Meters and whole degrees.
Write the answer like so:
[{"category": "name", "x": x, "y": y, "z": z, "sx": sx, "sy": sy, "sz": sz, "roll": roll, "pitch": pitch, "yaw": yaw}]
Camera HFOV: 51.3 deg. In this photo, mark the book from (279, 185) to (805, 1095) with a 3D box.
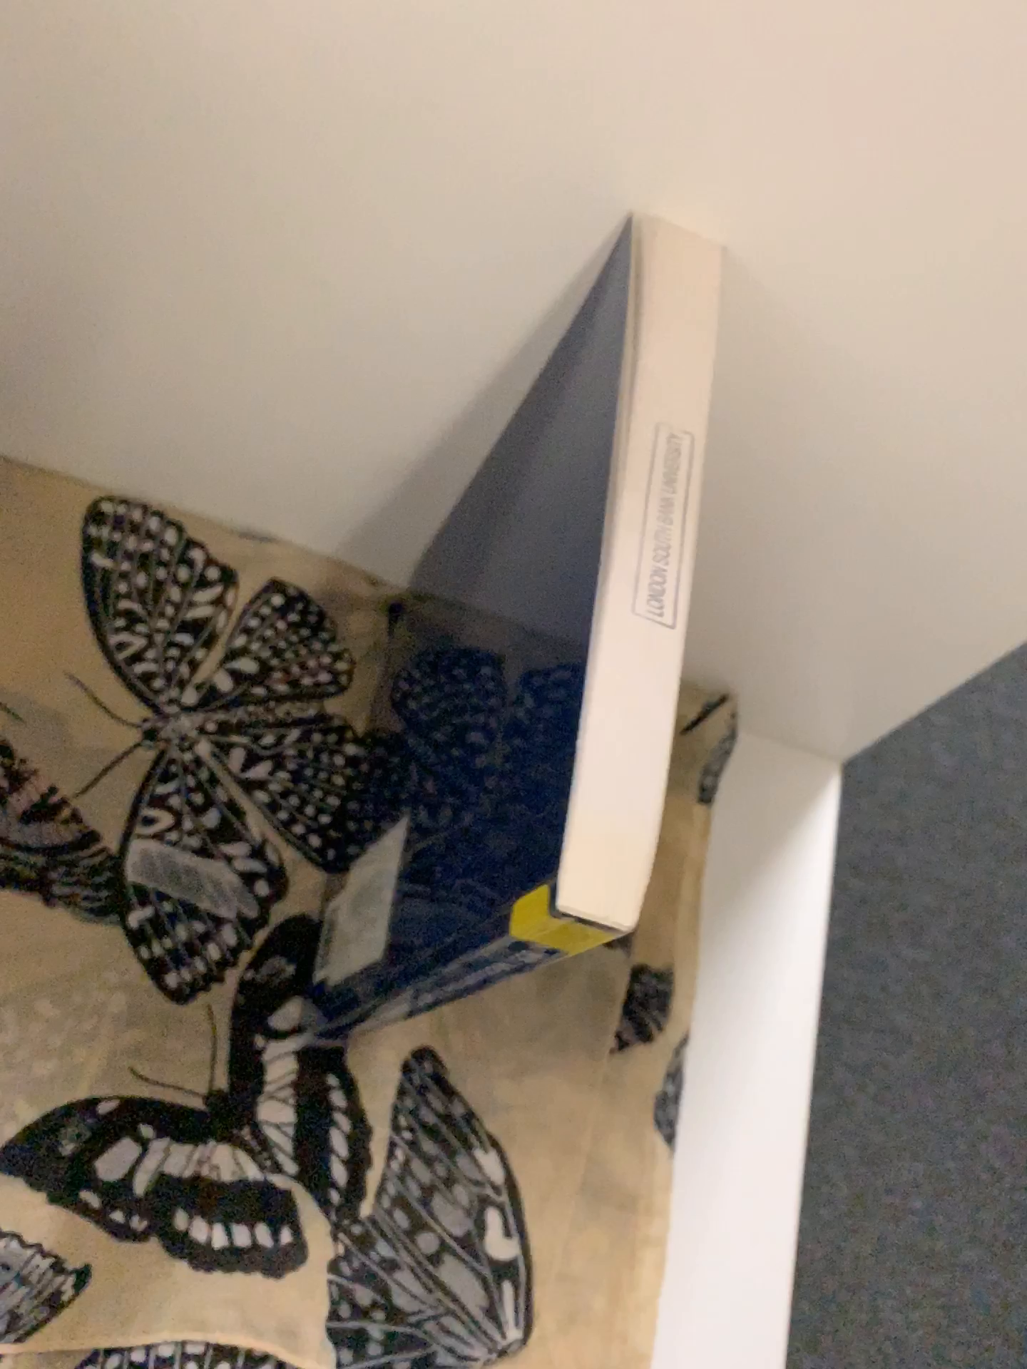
[{"category": "book", "x": -0.003, "y": 0.012, "z": 0.360, "sx": 0.052, "sy": 0.250, "sz": 0.220, "roll": 18, "pitch": 62, "yaw": -15}]
